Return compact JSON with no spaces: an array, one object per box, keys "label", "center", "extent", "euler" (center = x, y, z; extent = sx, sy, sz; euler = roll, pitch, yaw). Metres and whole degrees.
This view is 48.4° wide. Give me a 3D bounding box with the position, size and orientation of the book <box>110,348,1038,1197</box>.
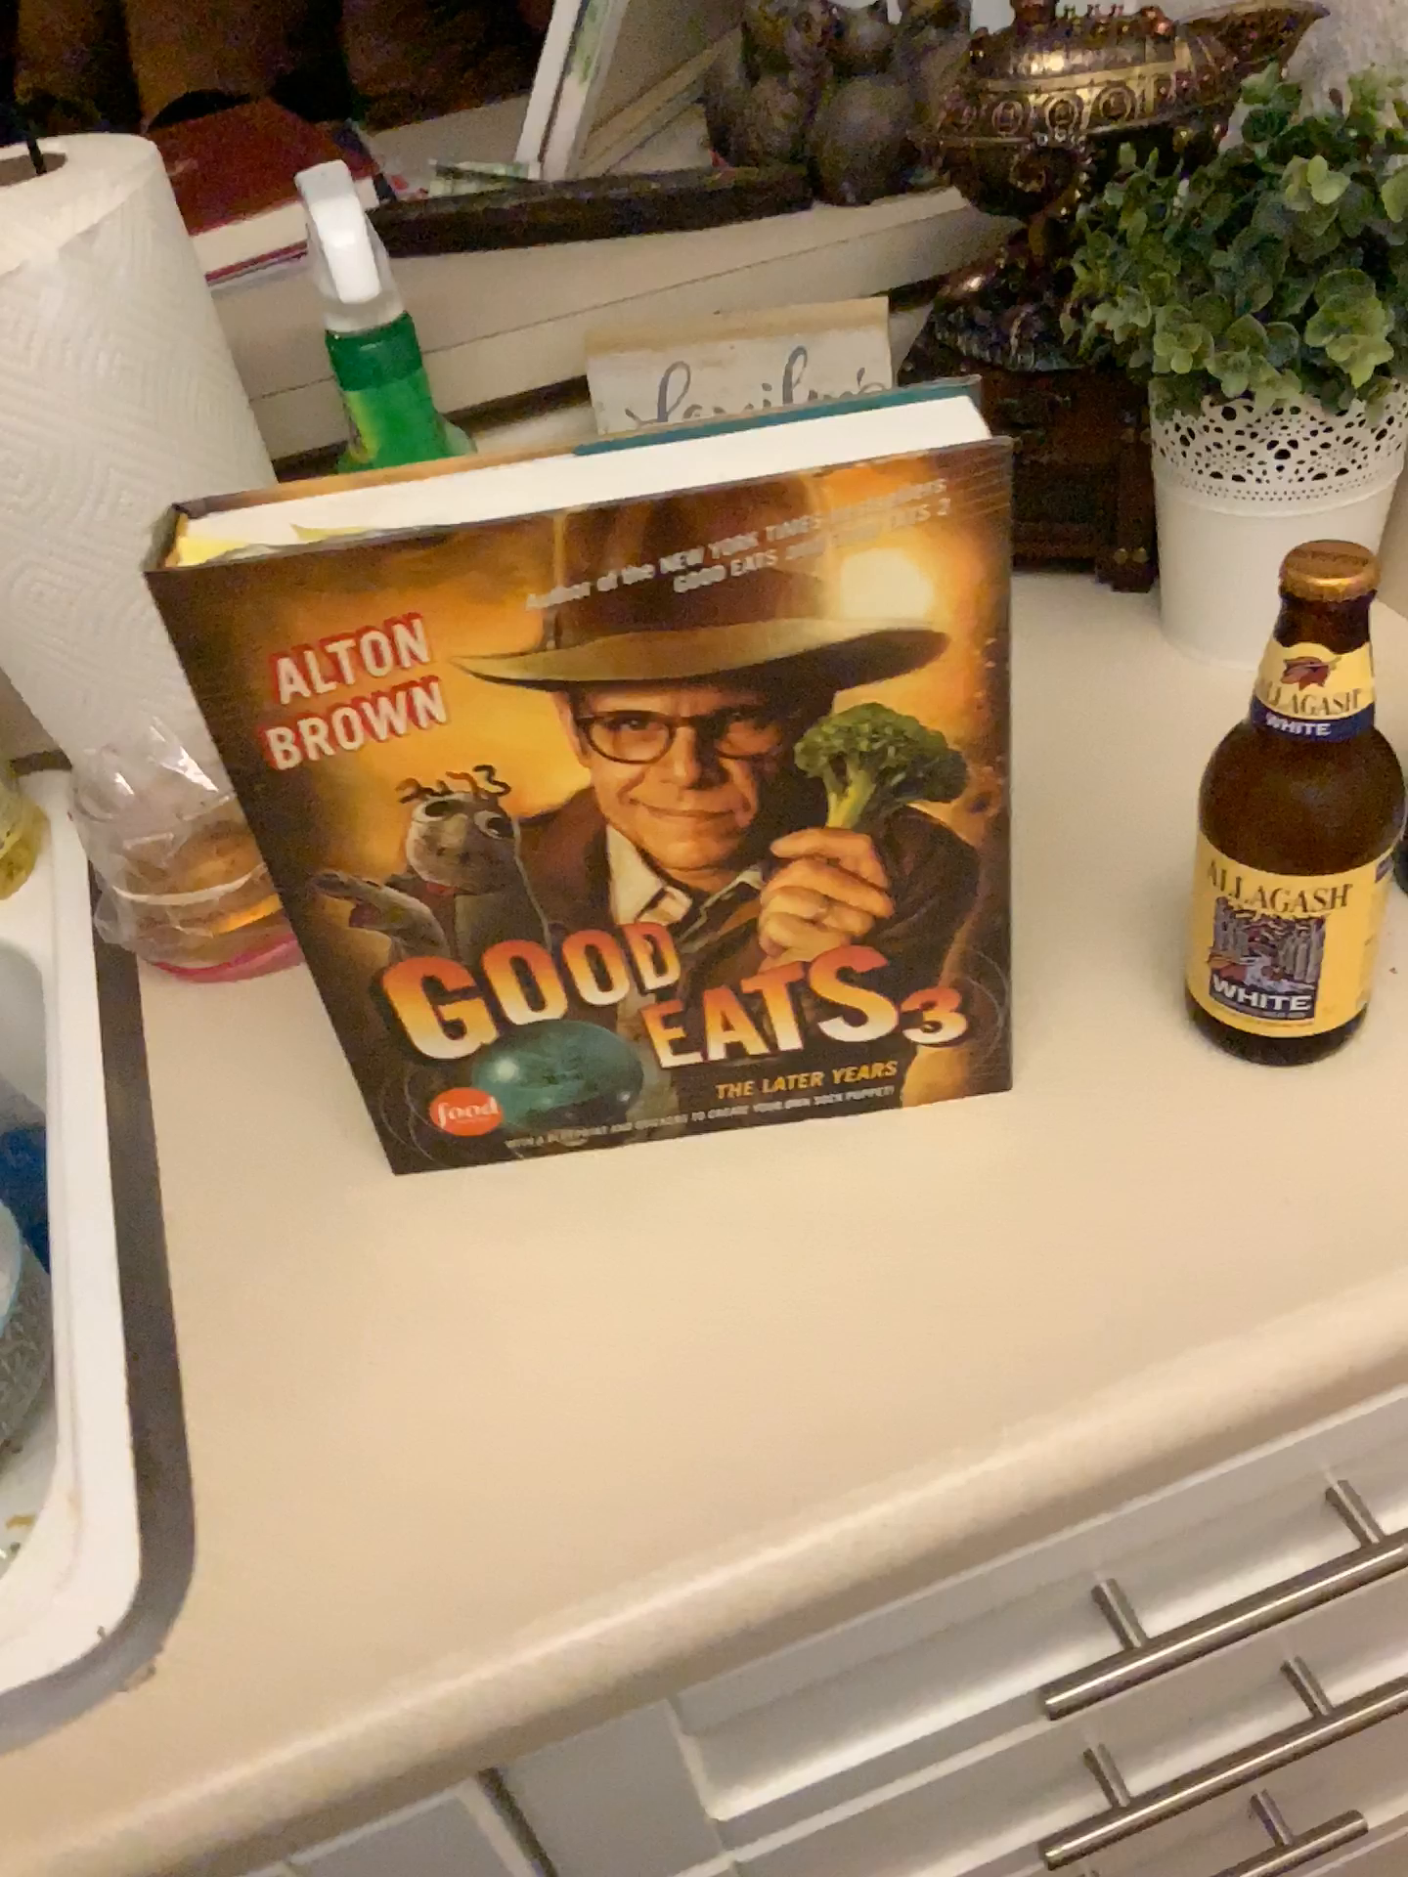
[{"label":"book","center":[-0.019,-0.035,0.500],"extent":[0.240,0.250,0.050],"euler":[-9,40,2]}]
